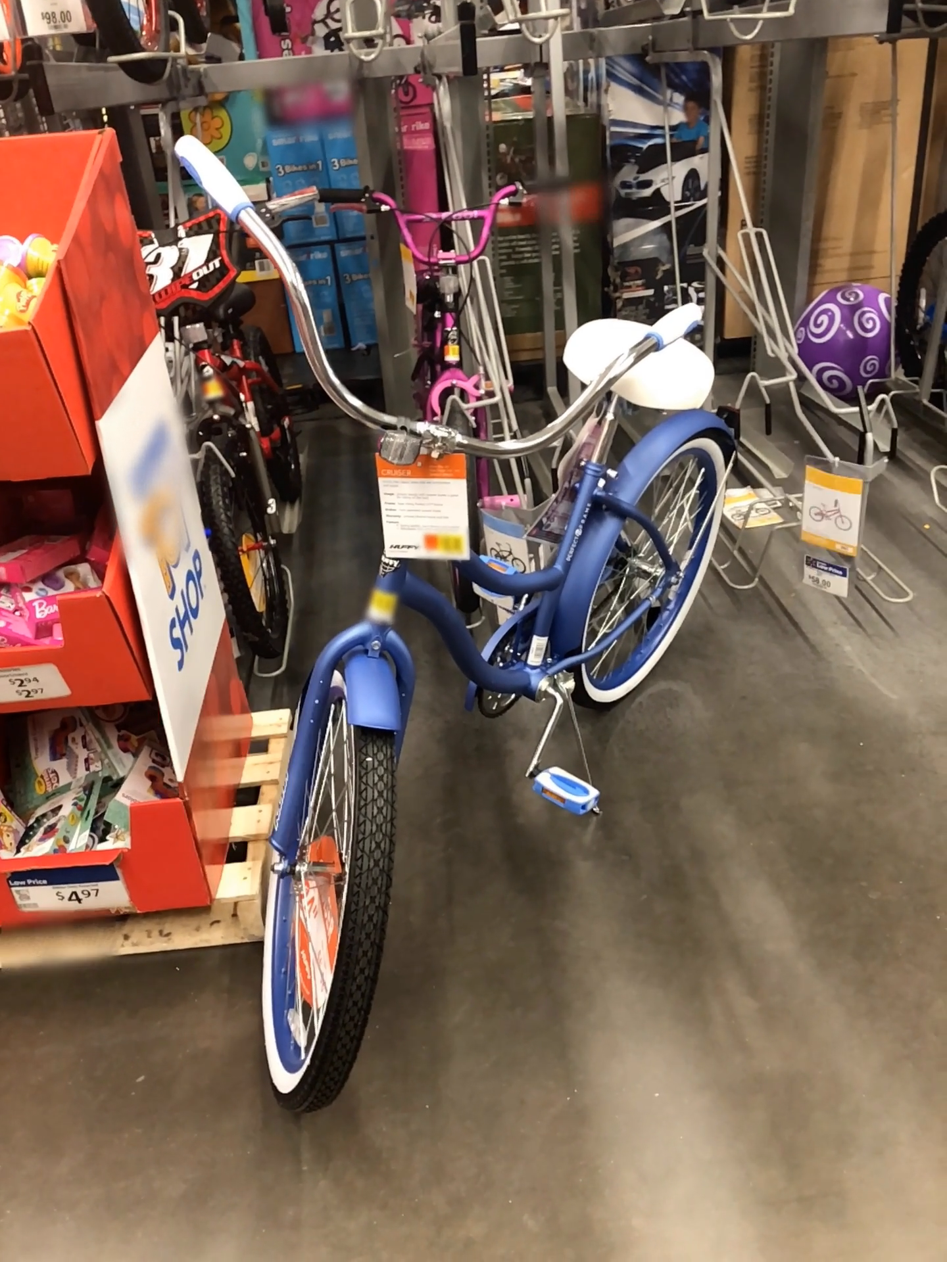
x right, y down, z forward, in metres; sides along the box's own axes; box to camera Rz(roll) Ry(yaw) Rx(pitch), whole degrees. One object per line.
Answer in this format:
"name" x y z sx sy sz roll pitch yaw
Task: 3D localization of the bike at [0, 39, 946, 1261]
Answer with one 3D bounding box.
"bike" 0.153 -0.114 1.509 0.857 1.113 1.360 12 37 27
